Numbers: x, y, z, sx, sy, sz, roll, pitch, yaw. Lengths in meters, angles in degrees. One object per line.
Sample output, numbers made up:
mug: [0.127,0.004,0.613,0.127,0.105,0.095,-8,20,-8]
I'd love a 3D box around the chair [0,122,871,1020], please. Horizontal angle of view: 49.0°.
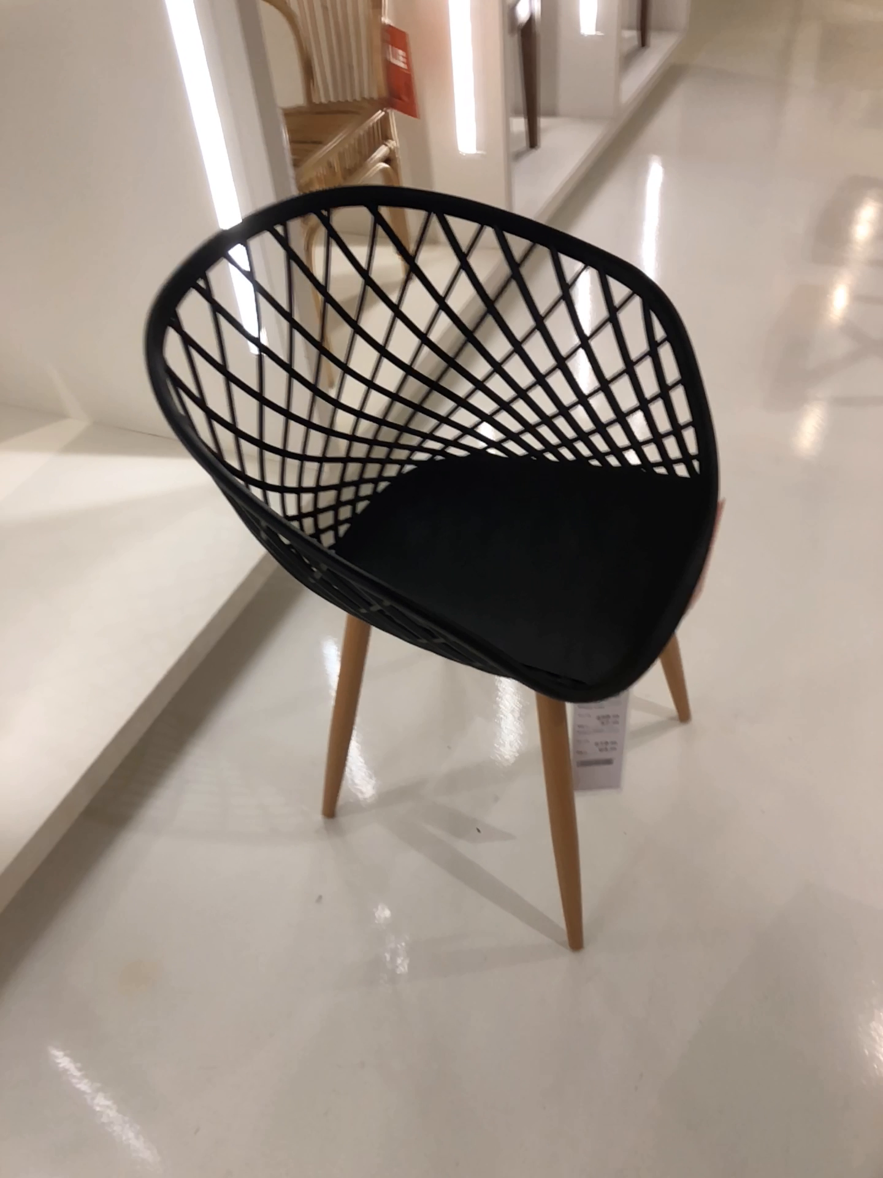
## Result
chair: [0.055,-0.055,1.155,0.601,0.705,0.624,18,48,24]
